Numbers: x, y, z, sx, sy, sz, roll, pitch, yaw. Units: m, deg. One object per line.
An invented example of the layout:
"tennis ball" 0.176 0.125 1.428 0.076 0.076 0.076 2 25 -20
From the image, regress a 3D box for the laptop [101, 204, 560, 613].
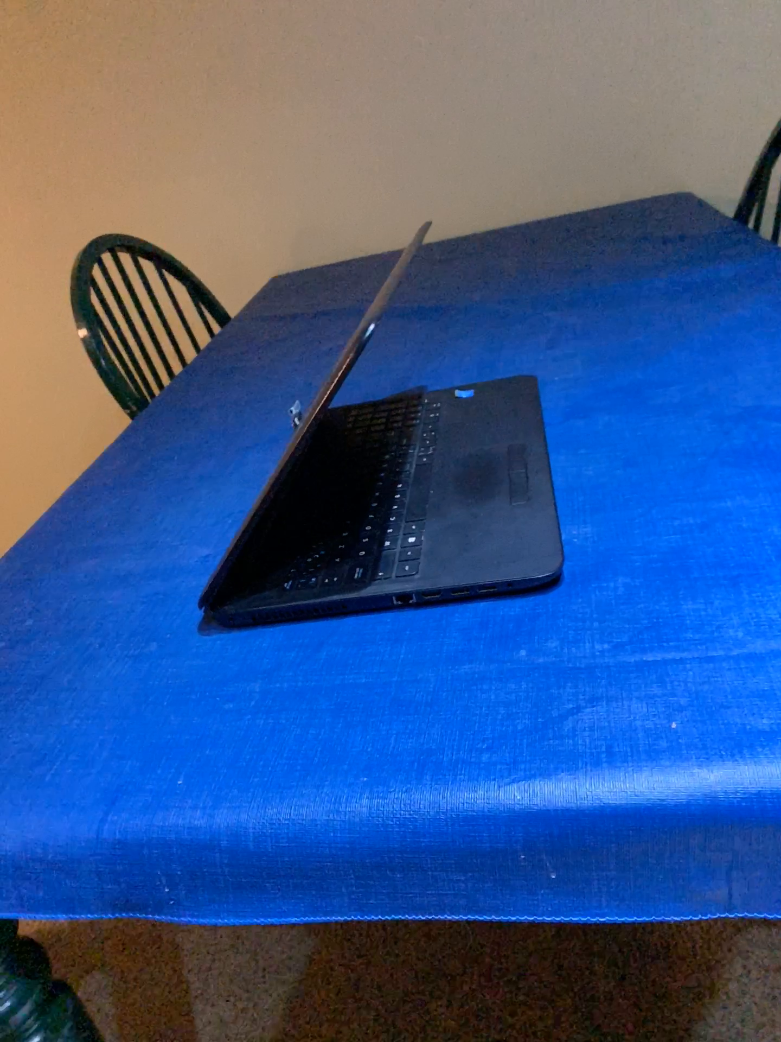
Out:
"laptop" -0.011 -0.117 0.655 0.251 0.167 0.373 -8 28 12
